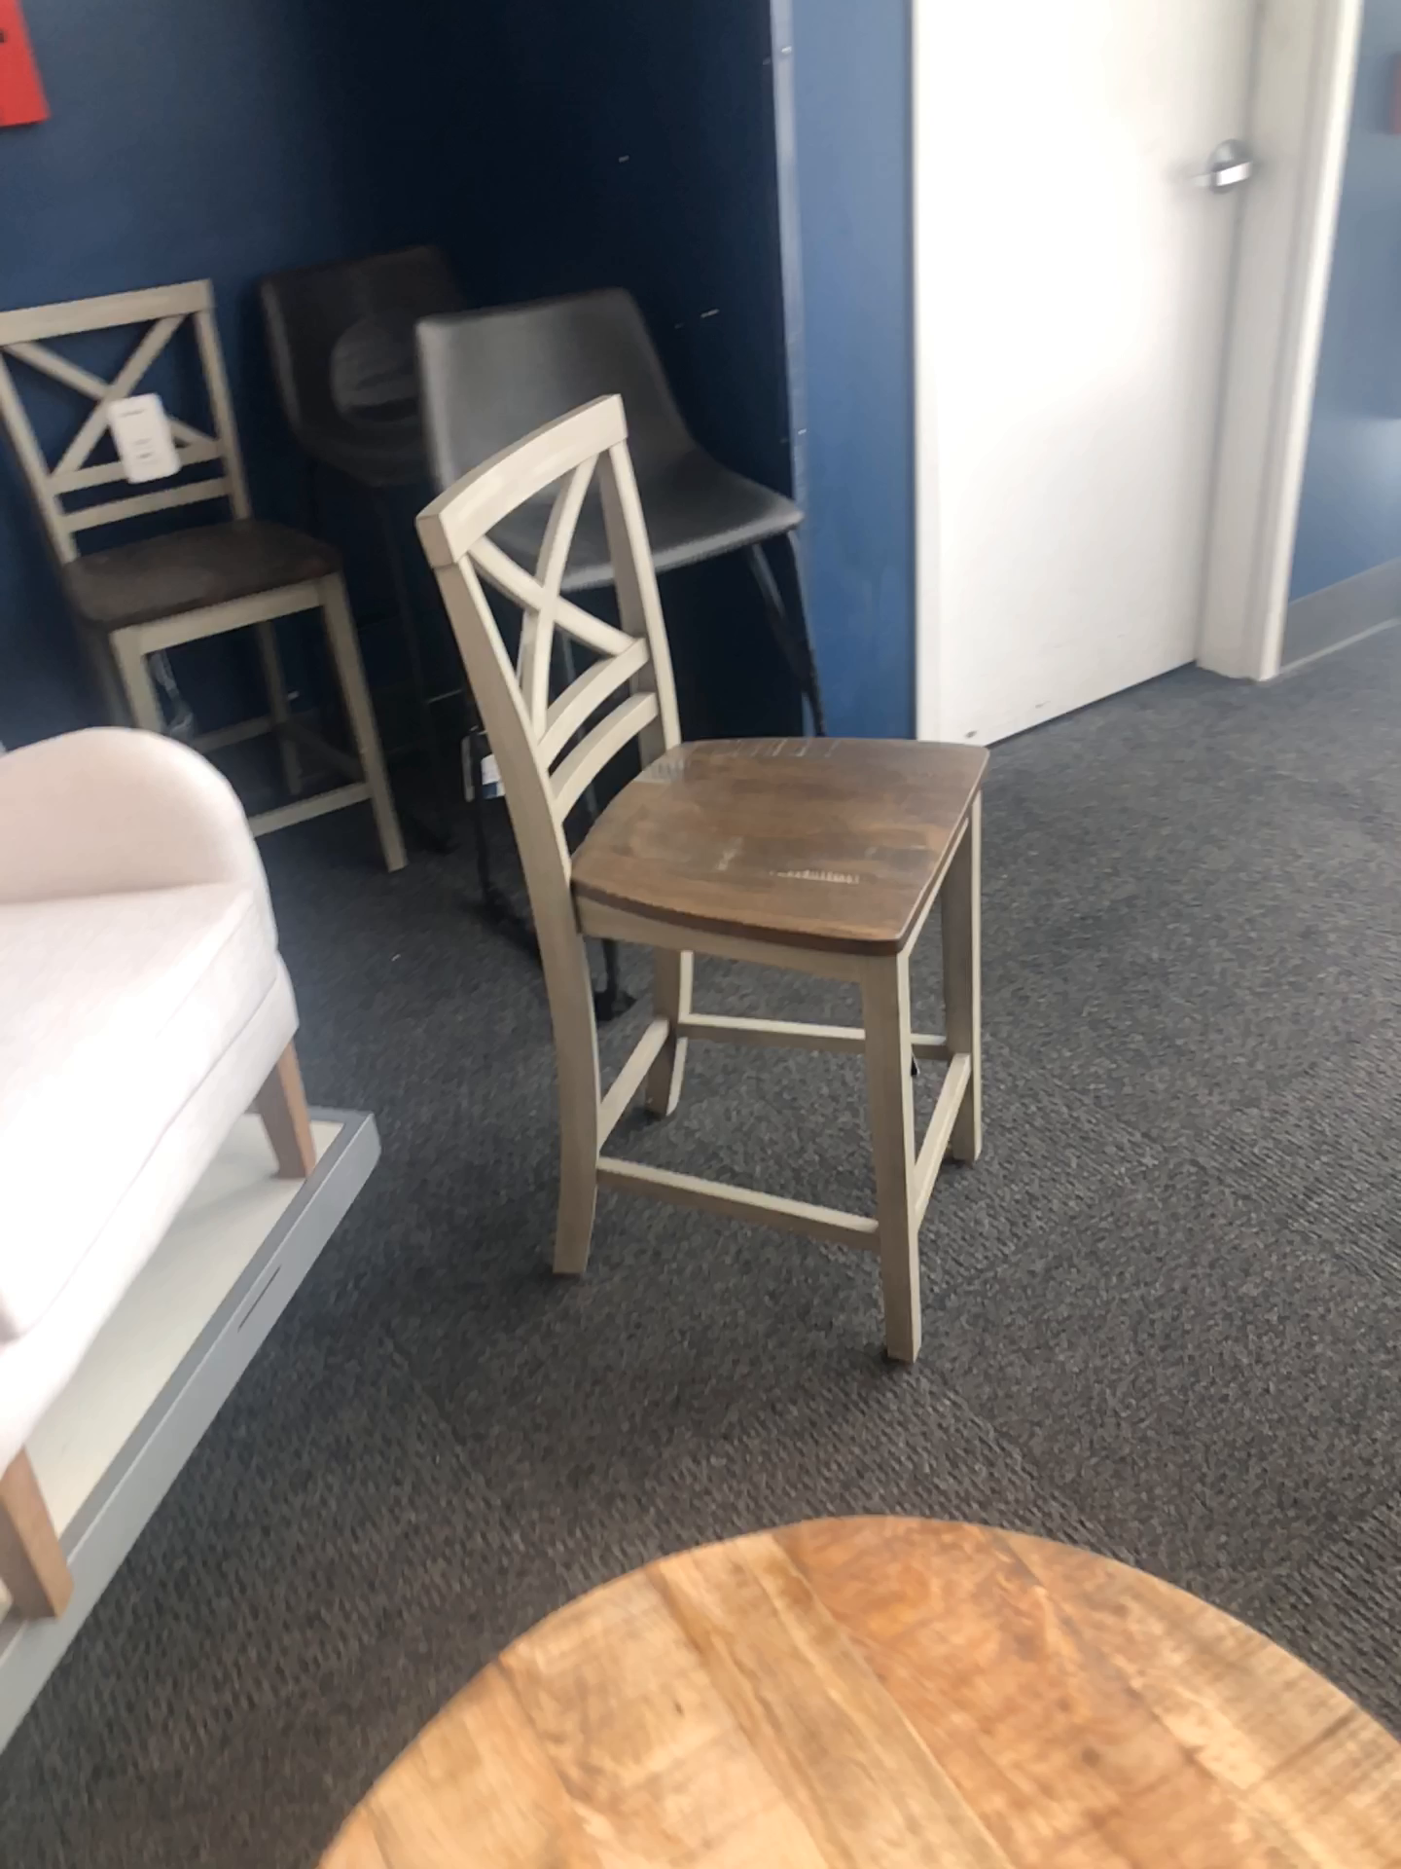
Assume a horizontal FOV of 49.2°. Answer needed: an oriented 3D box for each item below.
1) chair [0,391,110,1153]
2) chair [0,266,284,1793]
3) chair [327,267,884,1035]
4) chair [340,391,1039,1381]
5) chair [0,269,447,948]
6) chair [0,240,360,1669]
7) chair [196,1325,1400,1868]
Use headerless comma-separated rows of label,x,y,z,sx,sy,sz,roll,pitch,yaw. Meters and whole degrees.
chair,-1.405,-0.252,2.246,0.585,0.924,0.522,8,35,20
chair,-0.679,0.100,1.011,0.484,0.914,0.381,1,33,10
chair,-0.111,-0.451,2.346,0.540,0.934,0.536,-26,38,-29
chair,0.050,-0.061,1.702,0.535,0.934,0.472,7,35,20
chair,-0.832,-0.564,2.604,0.470,0.934,0.536,-21,36,-23
chair,-0.860,0.005,1.380,0.704,1.014,0.693,1,33,10
chair,0.145,0.673,0.965,0.684,0.536,0.522,-7,32,-1
